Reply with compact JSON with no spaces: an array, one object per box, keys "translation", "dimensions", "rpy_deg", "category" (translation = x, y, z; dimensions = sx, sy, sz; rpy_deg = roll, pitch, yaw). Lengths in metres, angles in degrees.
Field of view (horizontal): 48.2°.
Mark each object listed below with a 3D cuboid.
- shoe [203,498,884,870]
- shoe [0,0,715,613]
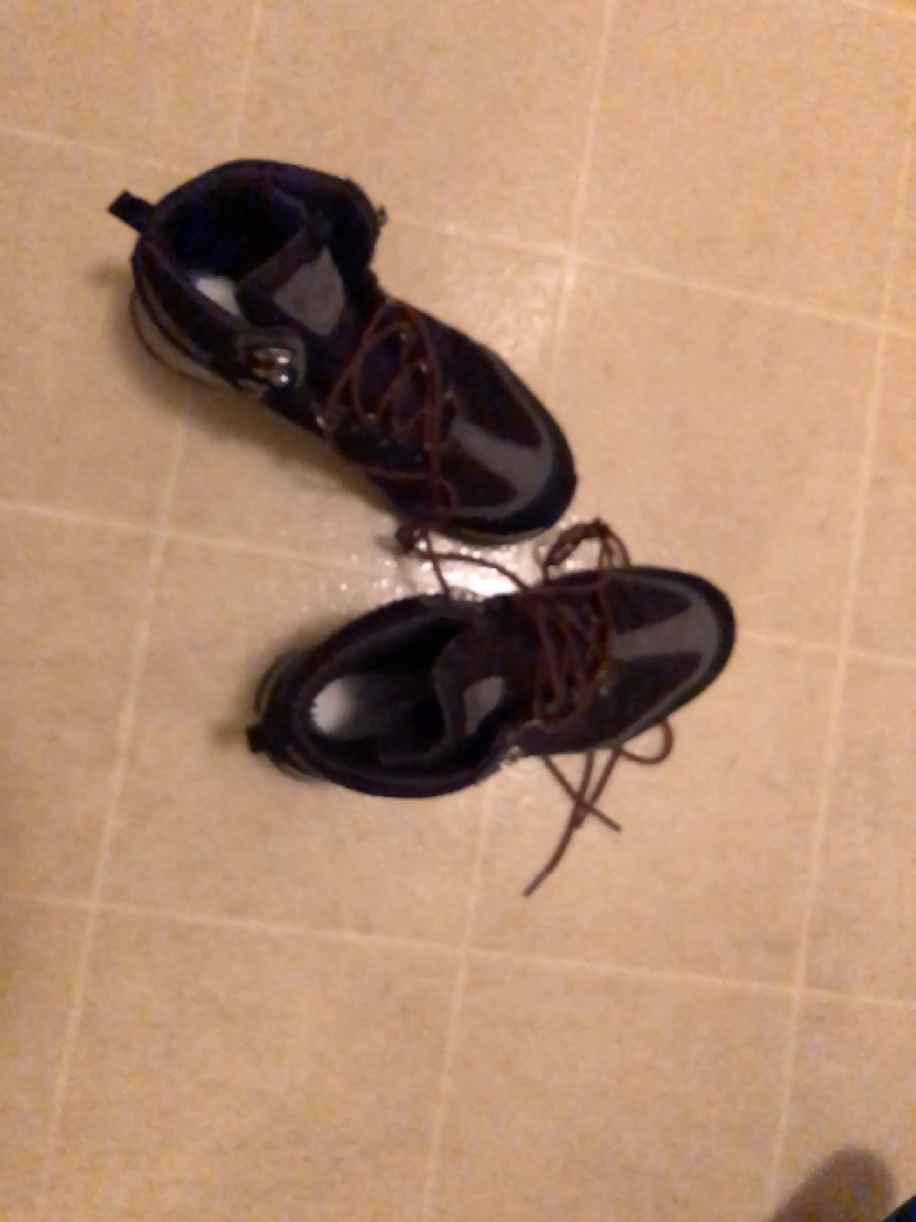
[{"translation":[0.032,0.034,0.560],"dimensions":[0.299,0.196,0.116],"rpy_deg":[-10,88,-9],"category":"shoe"},{"translation":[-0.056,-0.138,0.556],"dimensions":[0.309,0.196,0.126],"rpy_deg":[32,83,-6],"category":"shoe"}]
